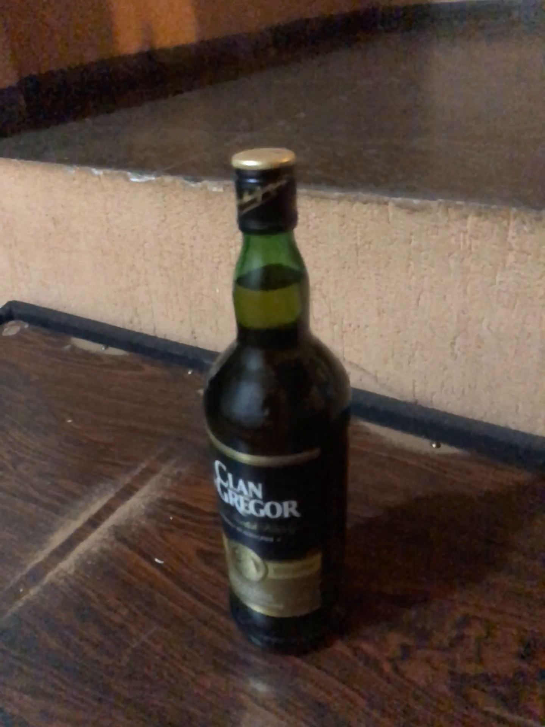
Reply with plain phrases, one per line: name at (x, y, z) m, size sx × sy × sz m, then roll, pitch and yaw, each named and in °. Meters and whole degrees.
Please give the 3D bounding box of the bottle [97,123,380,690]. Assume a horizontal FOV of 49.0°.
bottle at (-0.002, 0.039, 0.335) m, size 0.090 × 0.308 × 0.080 m, roll 20°, pitch 40°, yaw 34°
